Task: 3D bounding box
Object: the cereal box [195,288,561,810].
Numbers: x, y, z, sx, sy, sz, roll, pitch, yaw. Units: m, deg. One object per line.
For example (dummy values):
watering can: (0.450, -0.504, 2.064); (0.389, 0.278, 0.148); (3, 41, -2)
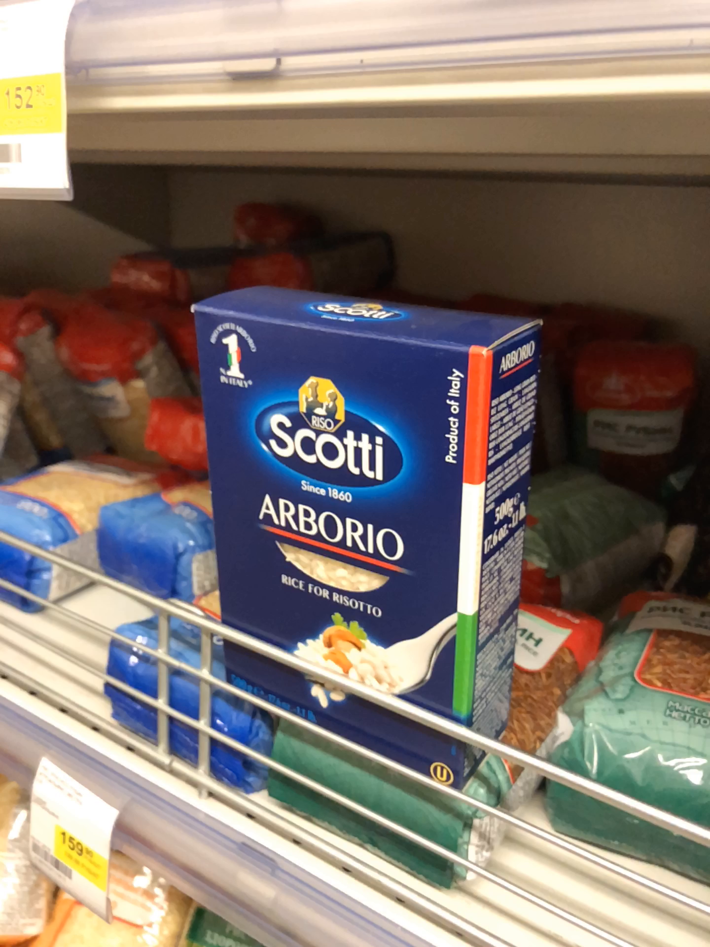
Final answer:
cereal box: (0.006, 0.021, 0.288); (0.110, 0.159, 0.050); (13, 24, 30)
